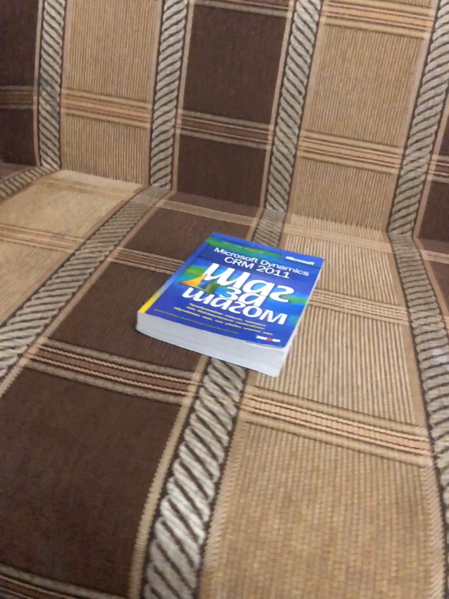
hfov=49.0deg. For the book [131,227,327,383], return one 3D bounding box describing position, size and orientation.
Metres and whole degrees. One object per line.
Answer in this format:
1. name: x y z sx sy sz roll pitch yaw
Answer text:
1. book: 0.015 -0.008 0.530 0.150 0.033 0.201 16 34 13
